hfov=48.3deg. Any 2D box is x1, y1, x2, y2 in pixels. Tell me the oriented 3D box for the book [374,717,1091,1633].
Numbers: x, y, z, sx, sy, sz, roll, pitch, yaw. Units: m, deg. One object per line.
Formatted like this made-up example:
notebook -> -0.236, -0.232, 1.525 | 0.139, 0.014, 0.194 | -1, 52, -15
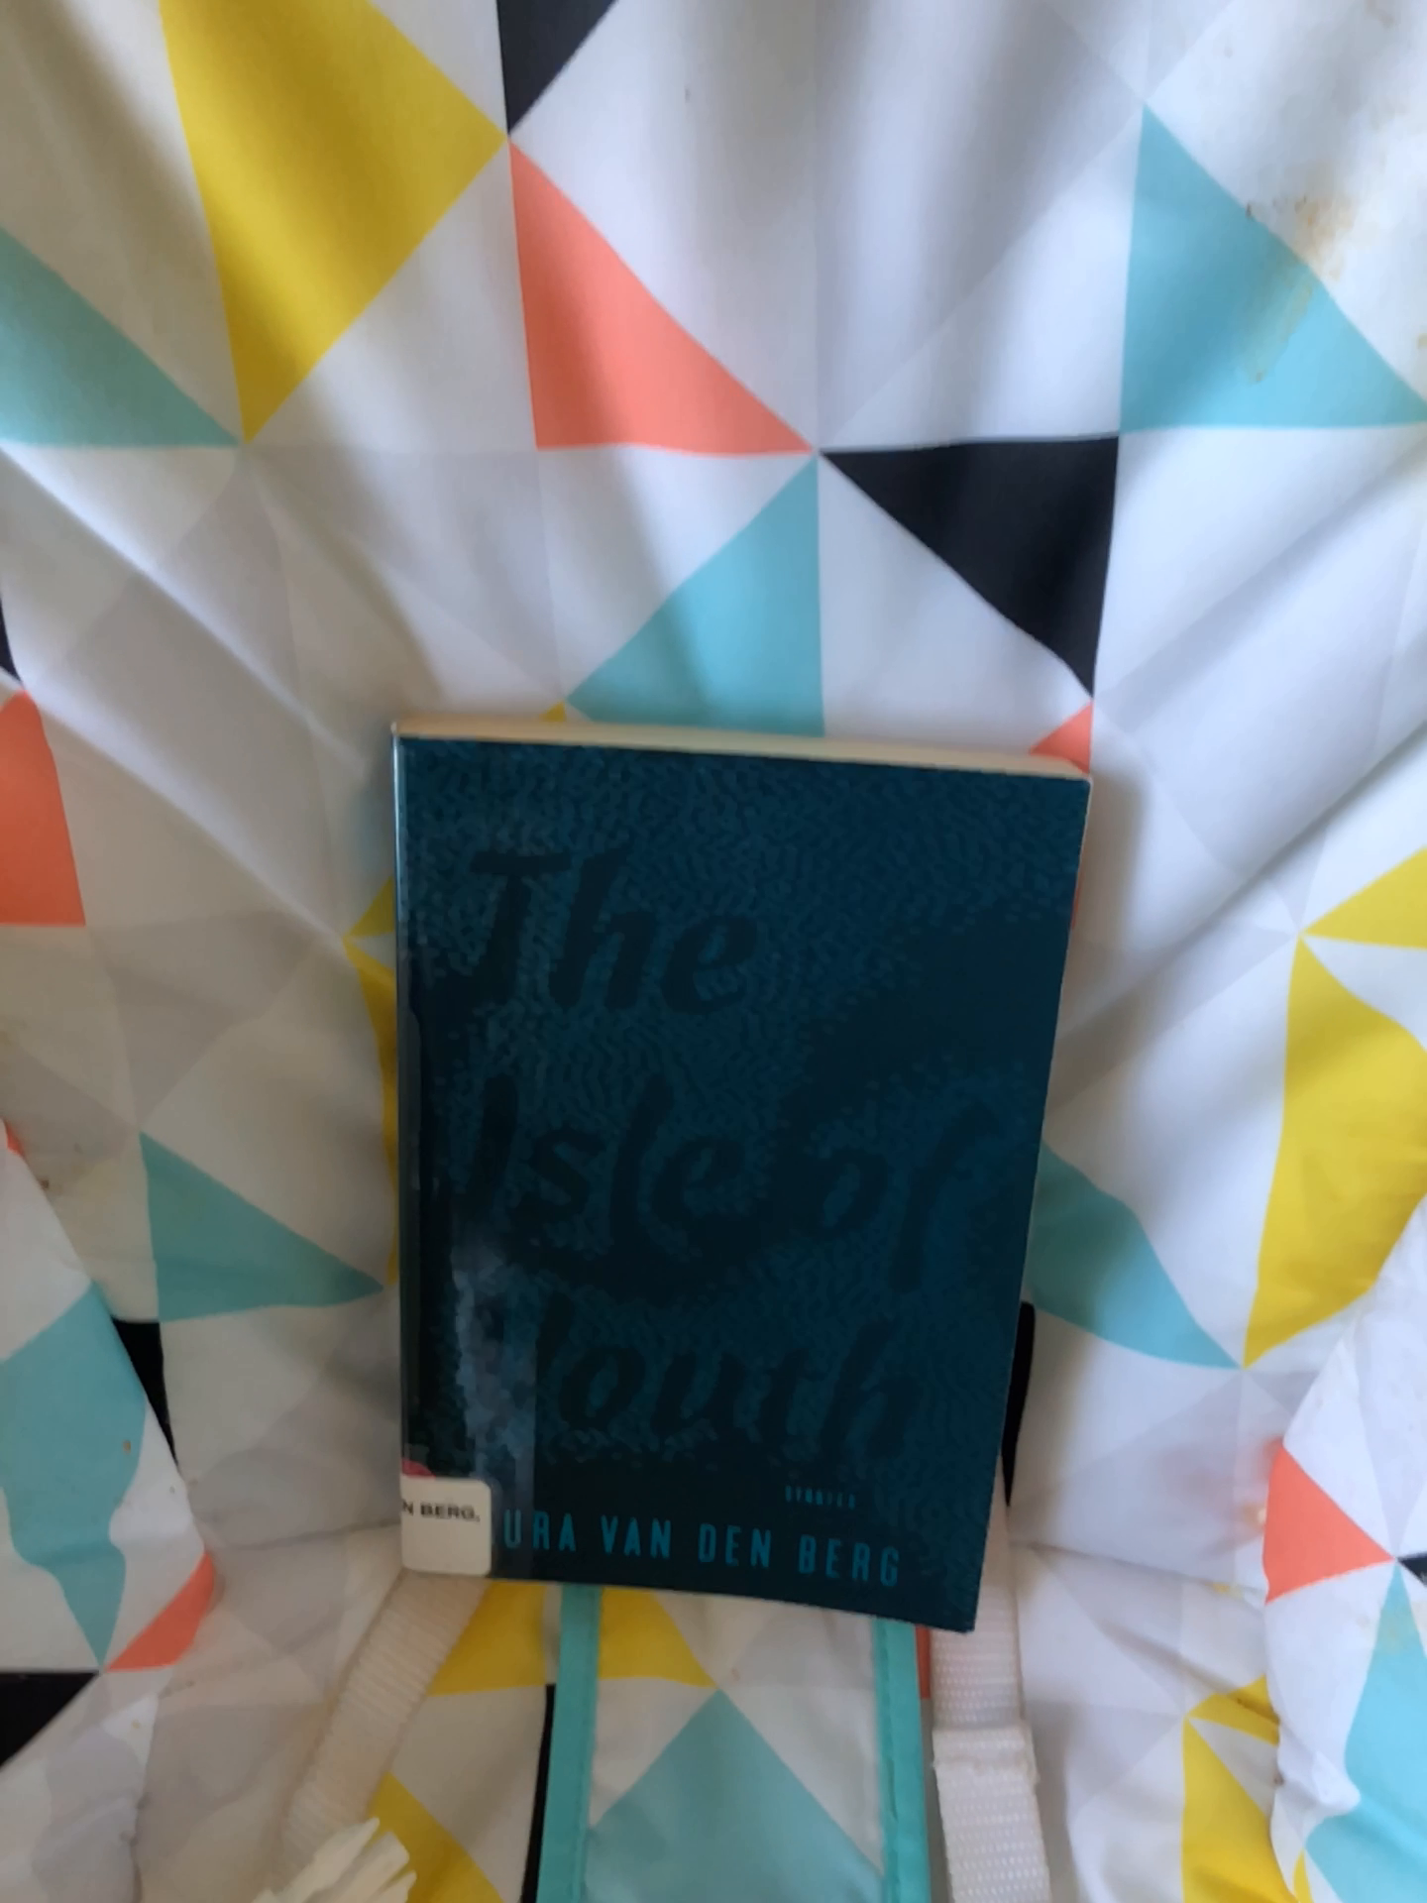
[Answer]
book -> 0.000, 0.049, 0.321 | 0.124, 0.032, 0.180 | 4, 111, 4
